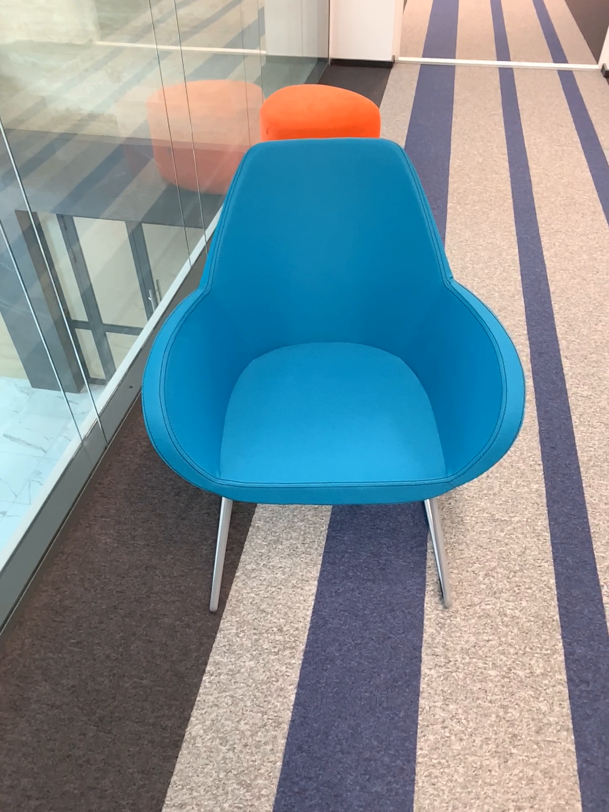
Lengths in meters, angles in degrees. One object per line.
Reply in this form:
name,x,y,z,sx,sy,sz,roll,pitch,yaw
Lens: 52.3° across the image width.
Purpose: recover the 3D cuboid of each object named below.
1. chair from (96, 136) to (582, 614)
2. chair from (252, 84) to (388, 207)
chair,0.053,-0.051,1.380,0.671,0.836,0.653,0,43,1
chair,0.078,-1.391,3.286,0.639,0.396,0.653,0,43,1
